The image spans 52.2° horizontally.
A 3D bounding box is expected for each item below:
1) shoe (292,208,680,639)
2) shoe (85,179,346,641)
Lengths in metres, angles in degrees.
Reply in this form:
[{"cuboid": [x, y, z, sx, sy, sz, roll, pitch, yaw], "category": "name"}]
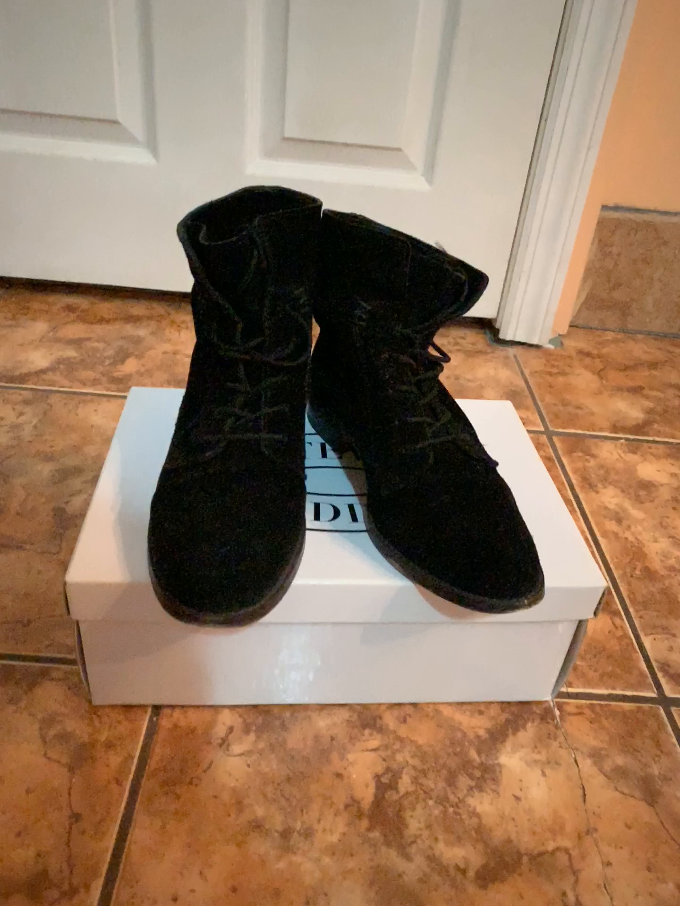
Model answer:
[{"cuboid": [0.058, -0.044, 0.431, 0.107, 0.142, 0.268, -5, 34, -17], "category": "shoe"}, {"cuboid": [-0.051, -0.047, 0.399, 0.094, 0.152, 0.259, 5, 32, -3], "category": "shoe"}]
